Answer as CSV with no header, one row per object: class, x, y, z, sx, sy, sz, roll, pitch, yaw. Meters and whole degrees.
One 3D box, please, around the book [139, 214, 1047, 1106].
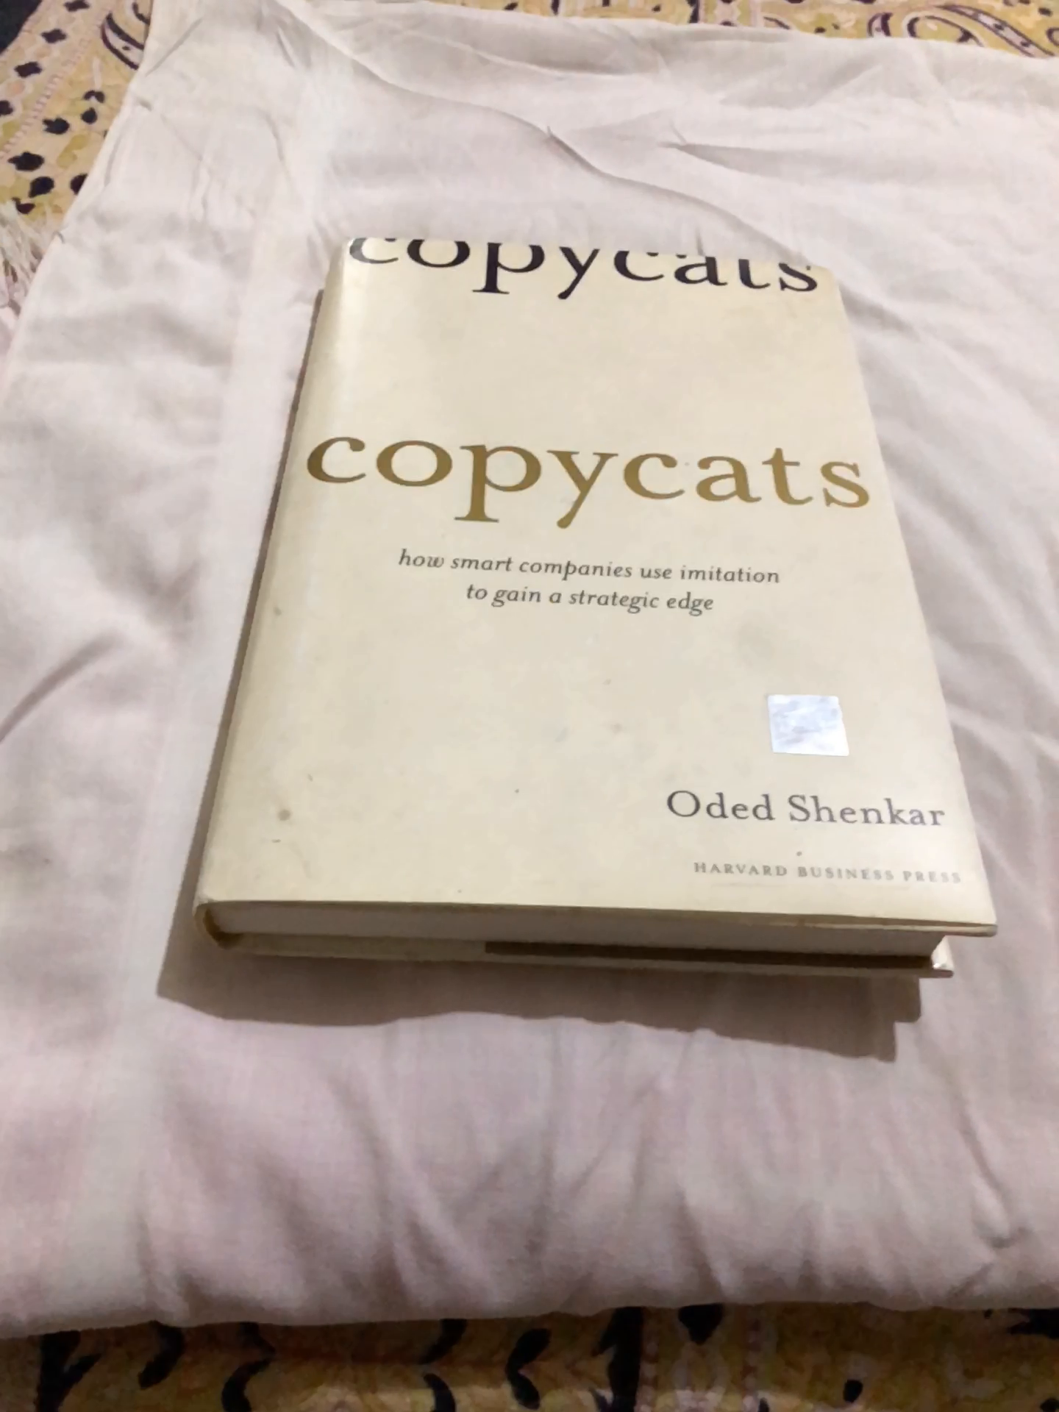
book,0.016,-0.032,0.281,0.150,0.040,0.231,4,52,1
